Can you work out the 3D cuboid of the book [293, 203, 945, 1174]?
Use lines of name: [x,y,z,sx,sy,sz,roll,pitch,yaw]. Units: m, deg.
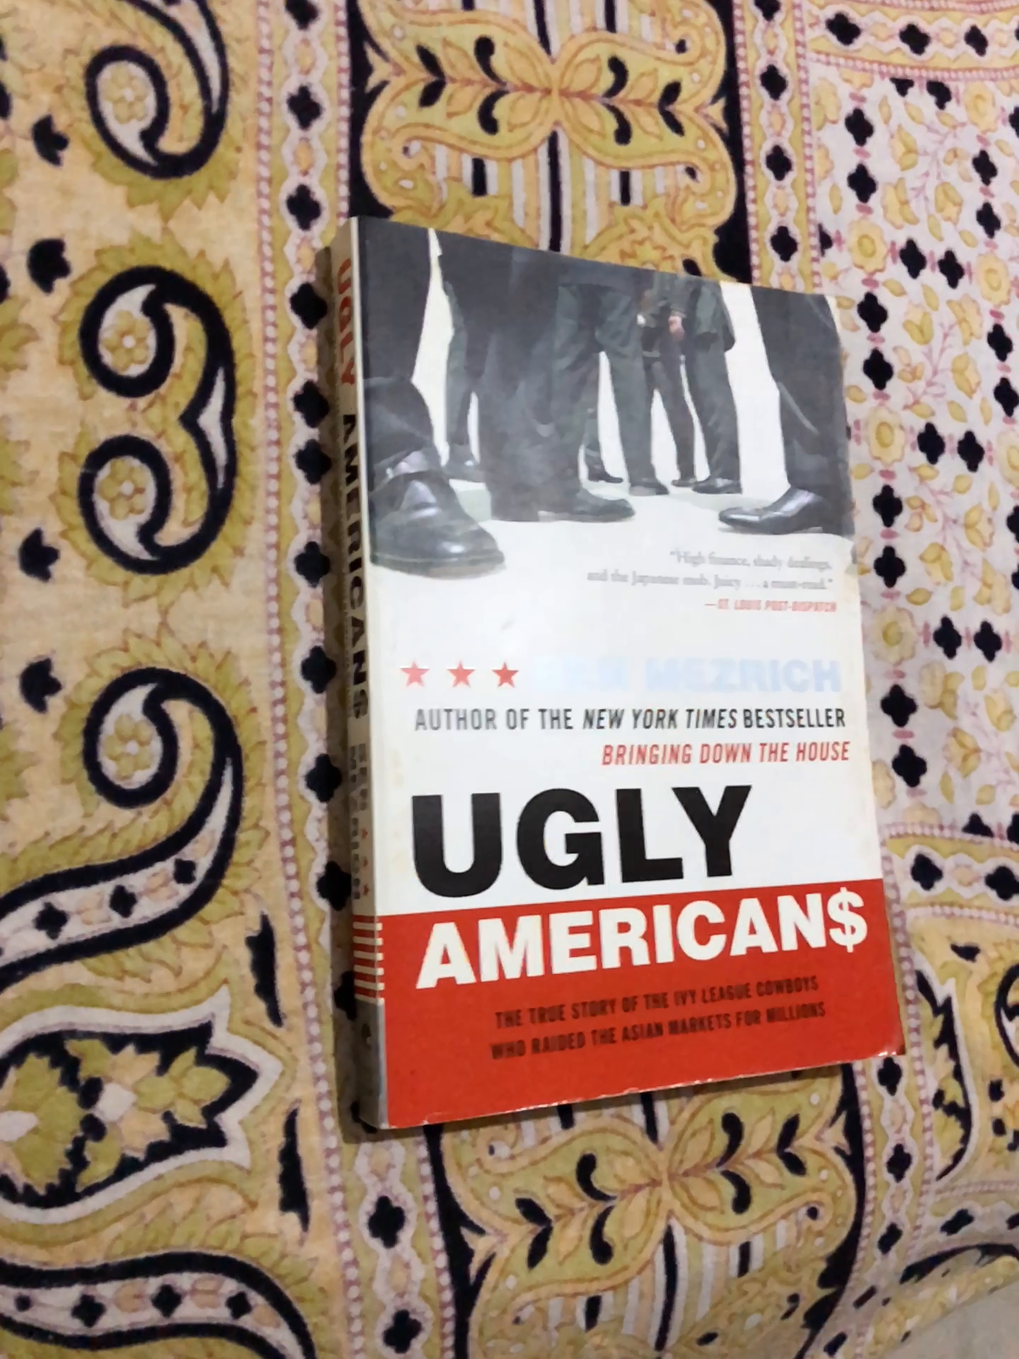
book: [0.025,-0.001,0.260,0.140,0.030,0.190,0,82,-21]
